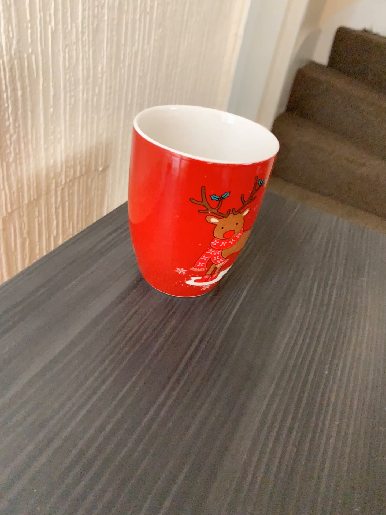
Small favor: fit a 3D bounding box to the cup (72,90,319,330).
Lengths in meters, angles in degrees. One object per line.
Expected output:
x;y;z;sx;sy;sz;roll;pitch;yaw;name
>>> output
0.004;-0.042;0.260;0.090;0.089;0.131;29;38;21;cup
